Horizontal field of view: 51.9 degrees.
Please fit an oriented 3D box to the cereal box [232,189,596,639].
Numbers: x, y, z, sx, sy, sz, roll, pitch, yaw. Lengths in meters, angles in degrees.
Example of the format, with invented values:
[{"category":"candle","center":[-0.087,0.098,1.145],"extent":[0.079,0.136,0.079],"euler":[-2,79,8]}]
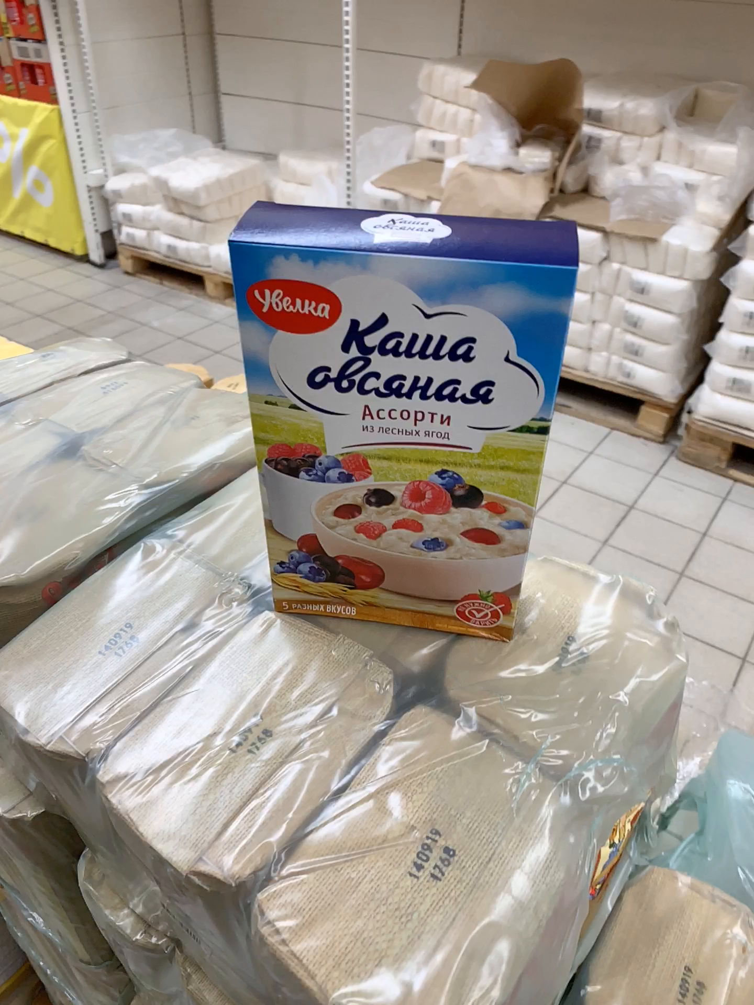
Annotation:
[{"category":"cereal box","center":[0.014,-0.030,0.356],"extent":[0.130,0.198,0.050],"euler":[6,39,6]}]
